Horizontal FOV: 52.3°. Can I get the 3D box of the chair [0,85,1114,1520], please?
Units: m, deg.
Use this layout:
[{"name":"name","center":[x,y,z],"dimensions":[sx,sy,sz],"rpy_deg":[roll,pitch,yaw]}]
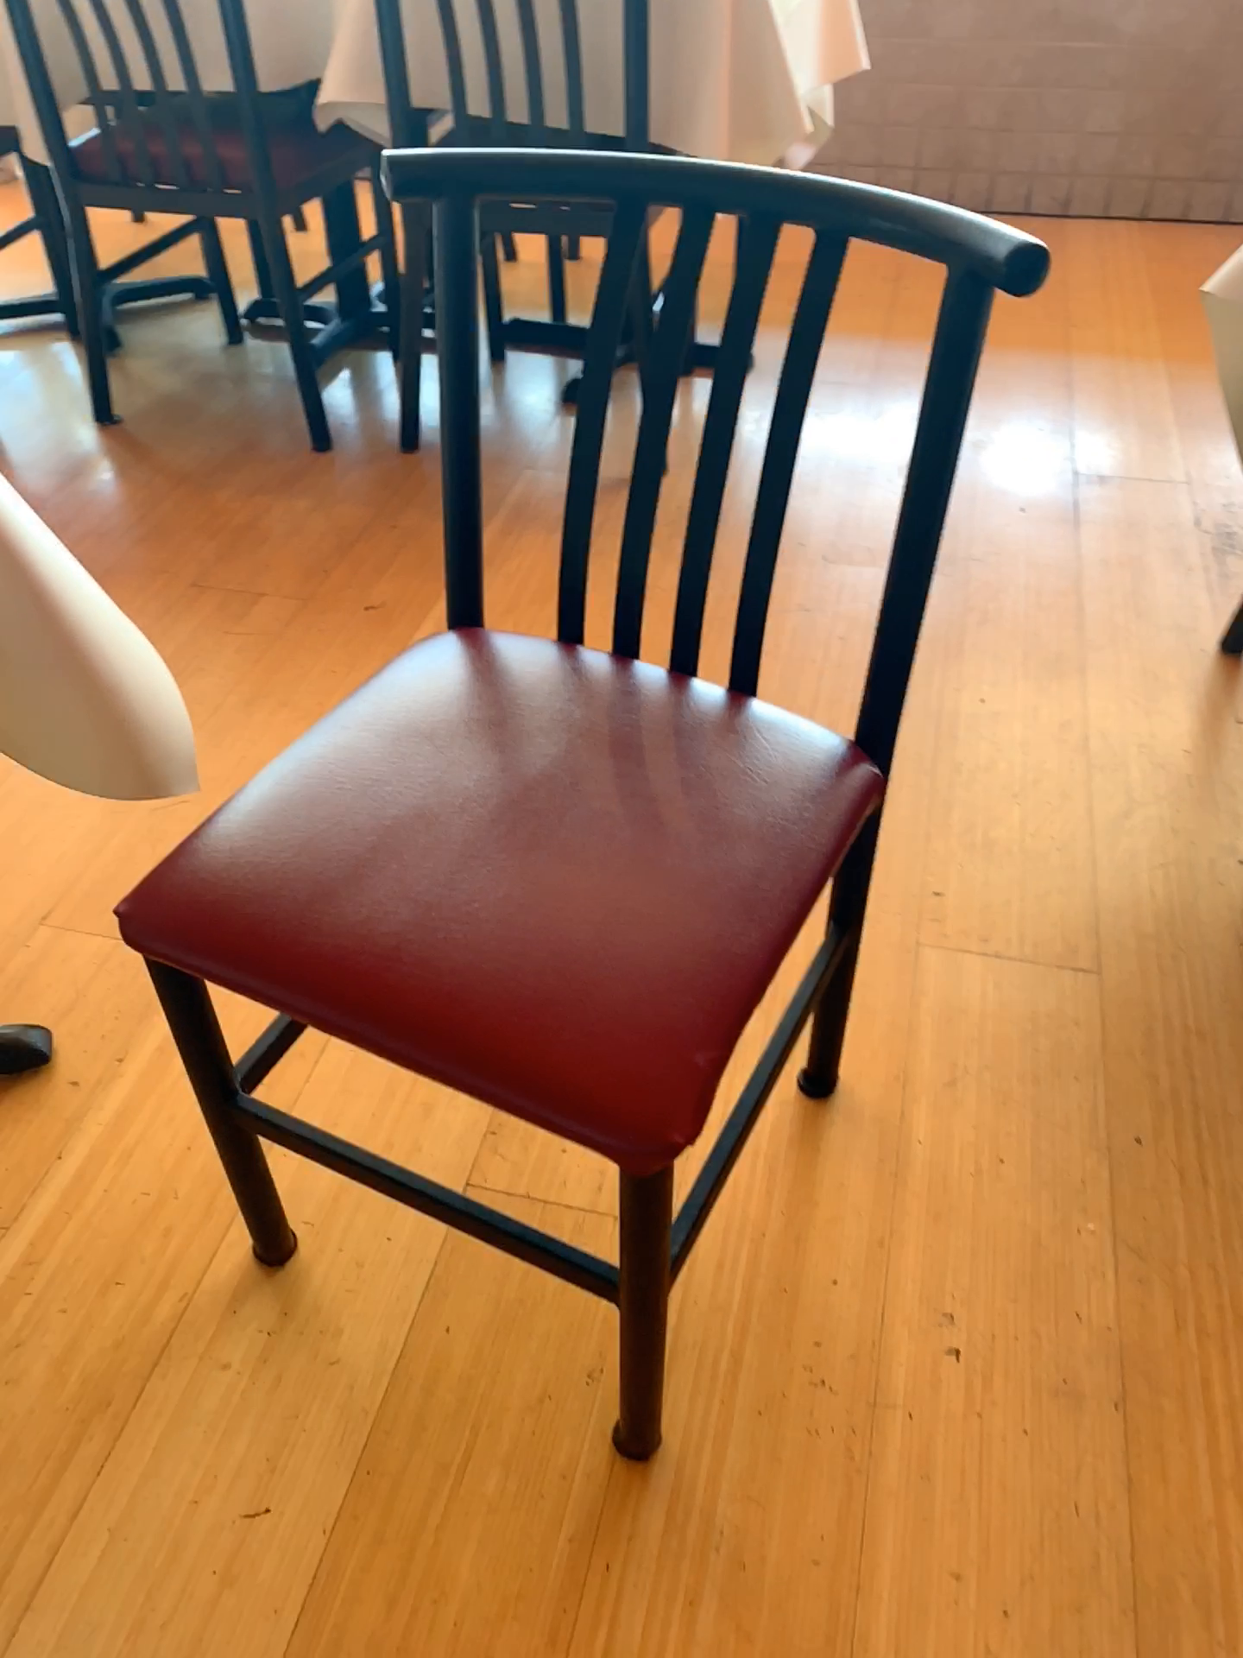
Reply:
[{"name":"chair","center":[-0.045,-0.031,0.909],"dimensions":[0.481,0.726,0.572],"rpy_deg":[19,45,18]}]
